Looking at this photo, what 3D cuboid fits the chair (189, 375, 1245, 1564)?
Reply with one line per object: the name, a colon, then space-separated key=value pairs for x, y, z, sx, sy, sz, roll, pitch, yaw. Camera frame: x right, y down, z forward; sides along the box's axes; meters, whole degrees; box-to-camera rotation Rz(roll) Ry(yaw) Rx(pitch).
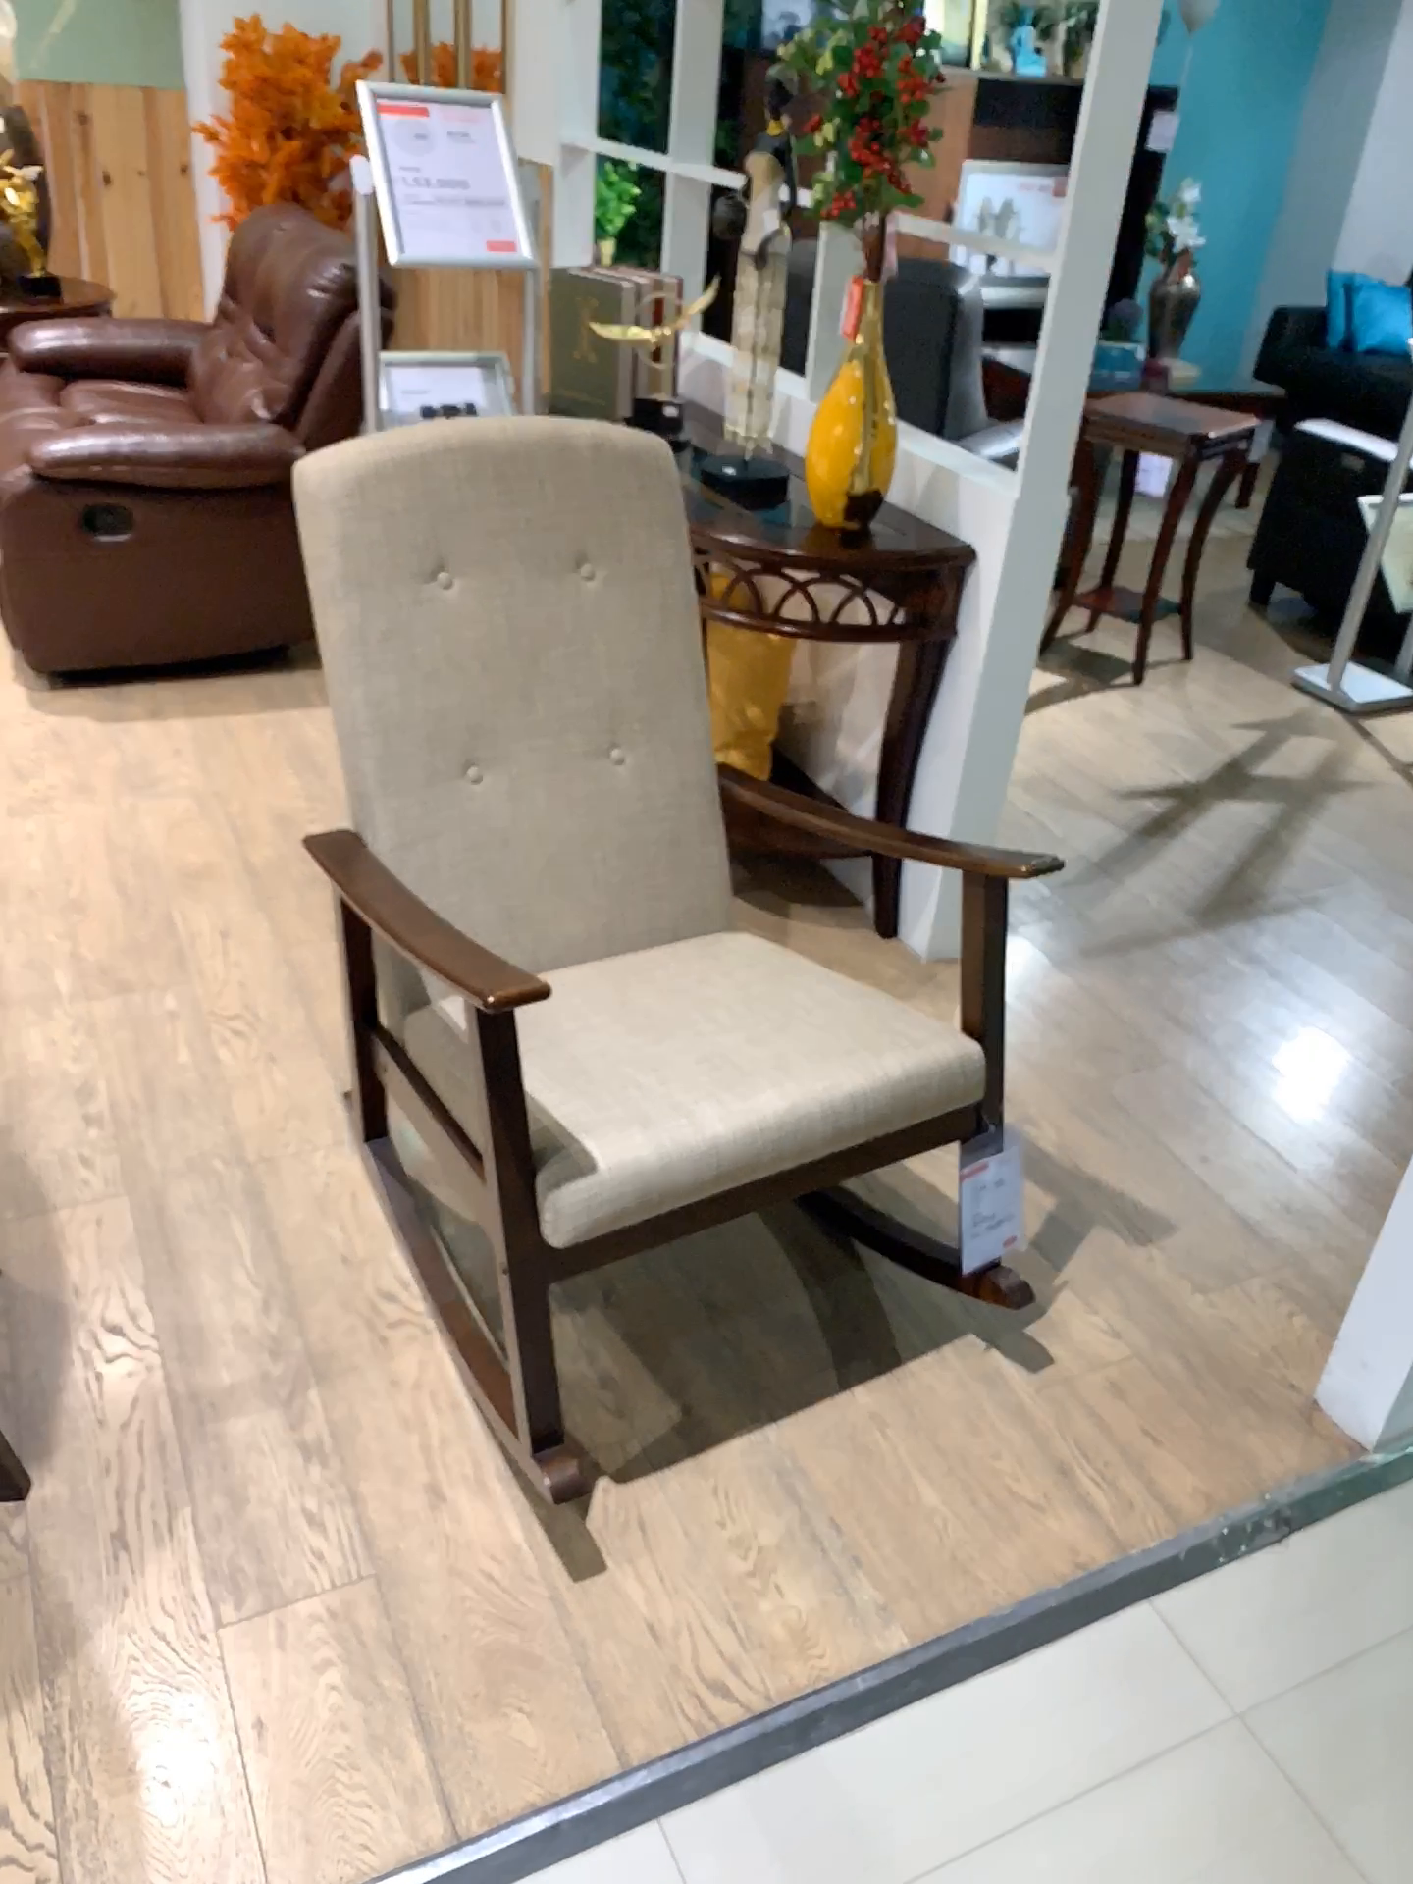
chair: x=-0.069 y=-0.060 z=1.712 sx=0.731 sy=0.976 sz=0.843 roll=-15 pitch=36 yaw=-30
